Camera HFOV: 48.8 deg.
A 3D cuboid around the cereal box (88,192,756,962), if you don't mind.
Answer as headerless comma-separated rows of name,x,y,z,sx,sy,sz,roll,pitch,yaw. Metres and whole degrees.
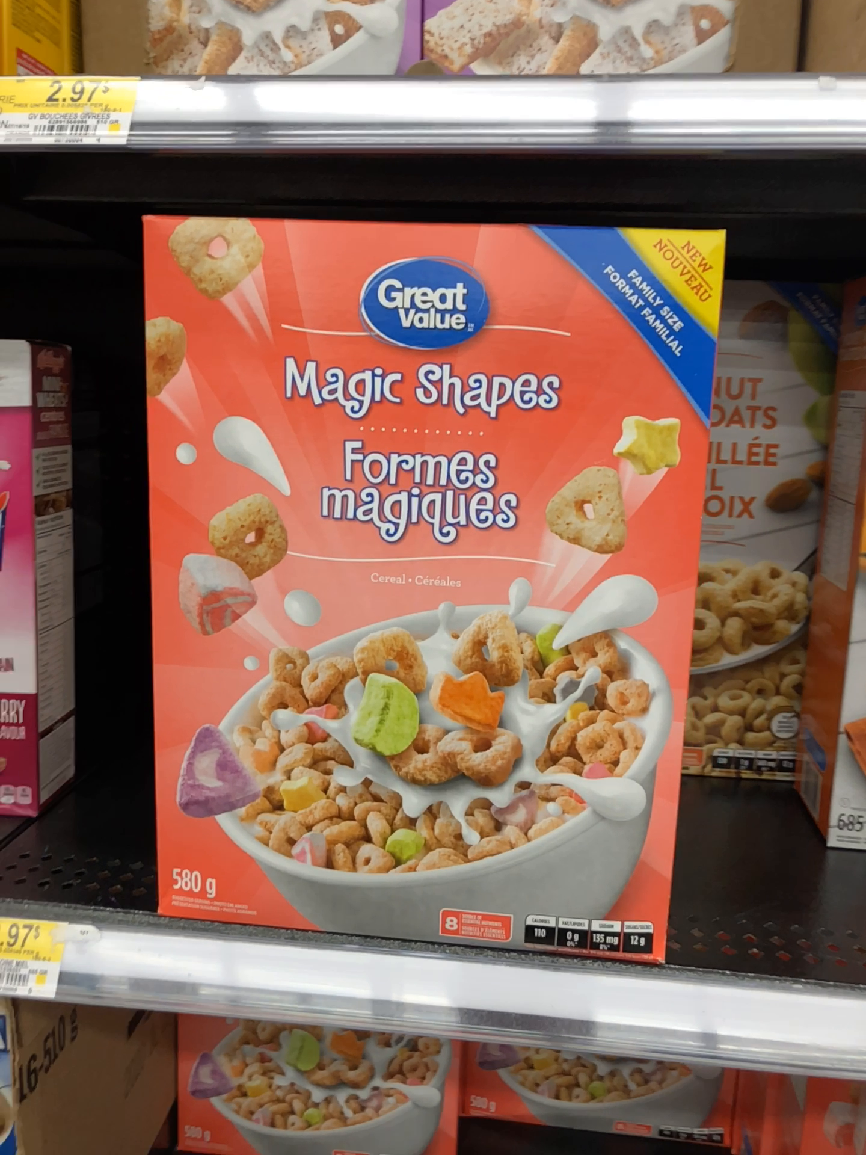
cereal box,-0.009,0.000,0.437,0.260,0.319,0.070,3,12,6
